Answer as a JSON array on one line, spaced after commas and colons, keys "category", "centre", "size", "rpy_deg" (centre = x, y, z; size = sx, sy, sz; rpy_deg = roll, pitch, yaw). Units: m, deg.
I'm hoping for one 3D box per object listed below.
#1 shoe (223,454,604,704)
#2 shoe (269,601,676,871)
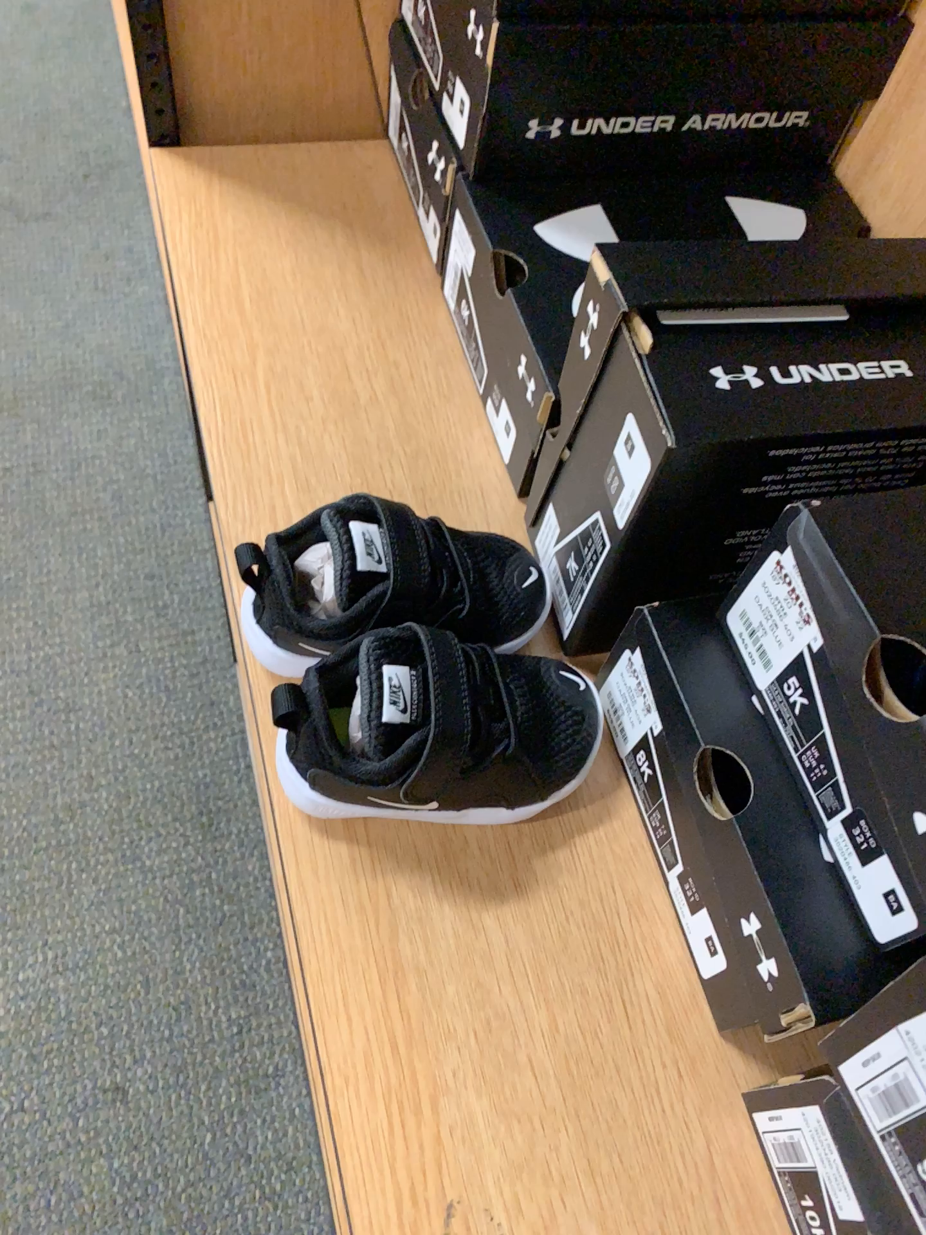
[{"category": "shoe", "centre": [-0.024, -0.017, 0.400], "size": [0.140, 0.060, 0.070], "rpy_deg": [-7, 62, -12]}, {"category": "shoe", "centre": [-0.001, 0.046, 0.378], "size": [0.140, 0.060, 0.070], "rpy_deg": [-7, 62, -12]}]
